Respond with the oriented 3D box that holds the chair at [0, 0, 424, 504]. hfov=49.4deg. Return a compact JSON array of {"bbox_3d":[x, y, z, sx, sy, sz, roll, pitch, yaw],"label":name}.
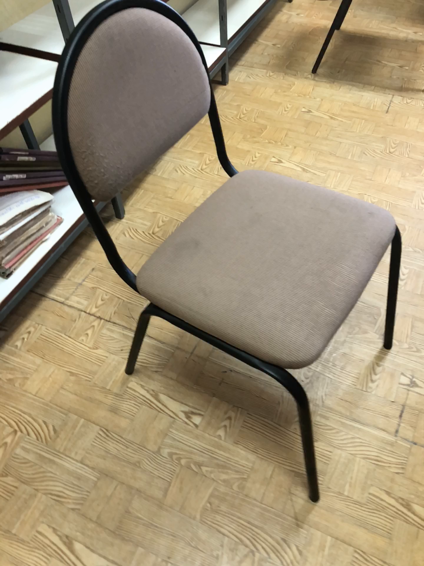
[{"bbox_3d":[0.080,-0.064,0.874,0.574,0.768,0.480,27,57,22],"label":"chair"}]
